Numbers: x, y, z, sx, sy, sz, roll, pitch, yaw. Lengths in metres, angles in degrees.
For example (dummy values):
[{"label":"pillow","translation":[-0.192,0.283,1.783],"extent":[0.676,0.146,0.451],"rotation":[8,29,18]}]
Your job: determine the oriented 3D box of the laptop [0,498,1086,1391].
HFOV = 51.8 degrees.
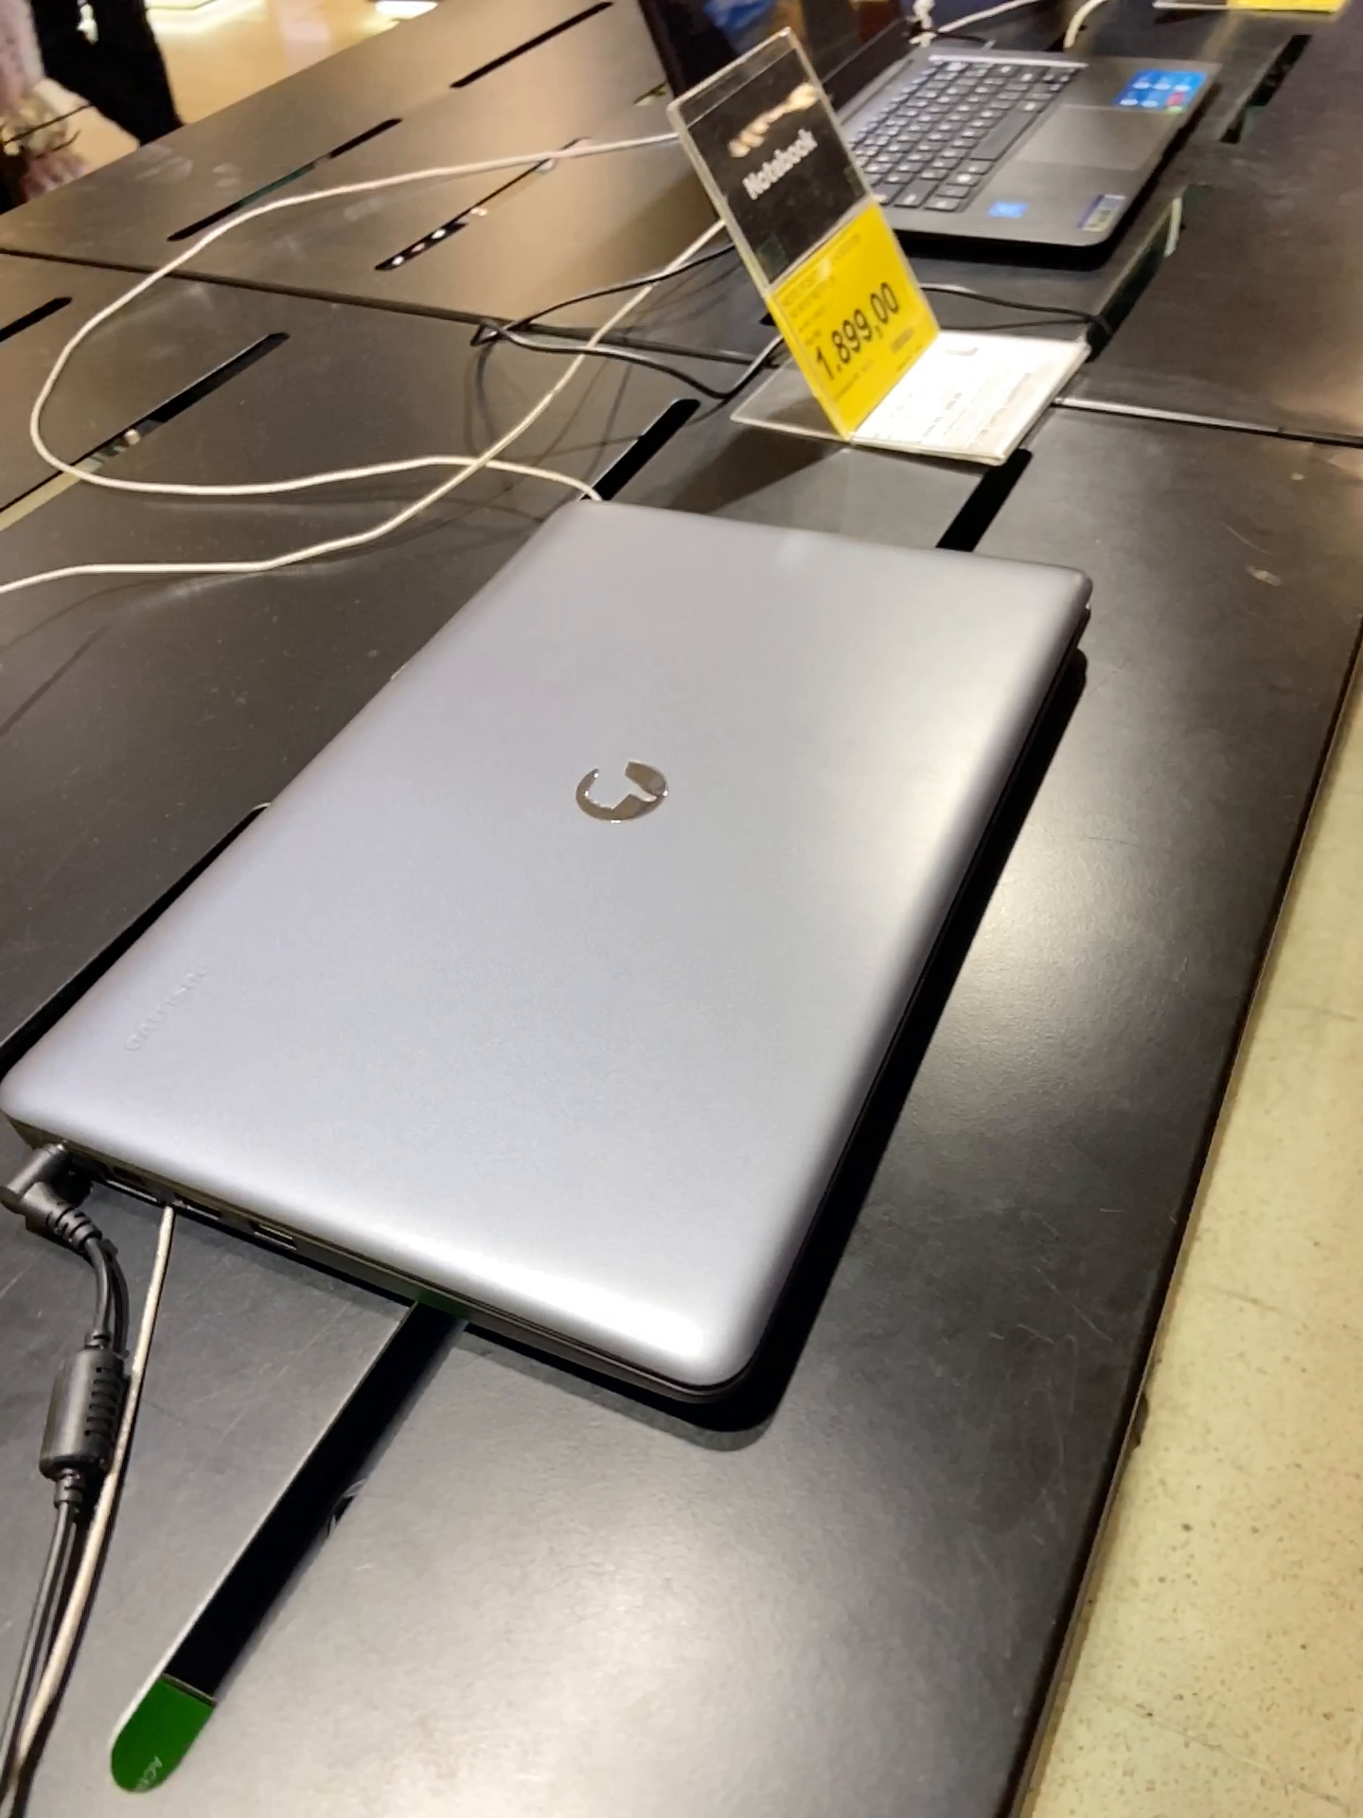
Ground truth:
[{"label":"laptop","translation":[-0.020,-0.033,0.440],"extent":[0.213,0.001,0.331],"rotation":[15,49,21]}]
